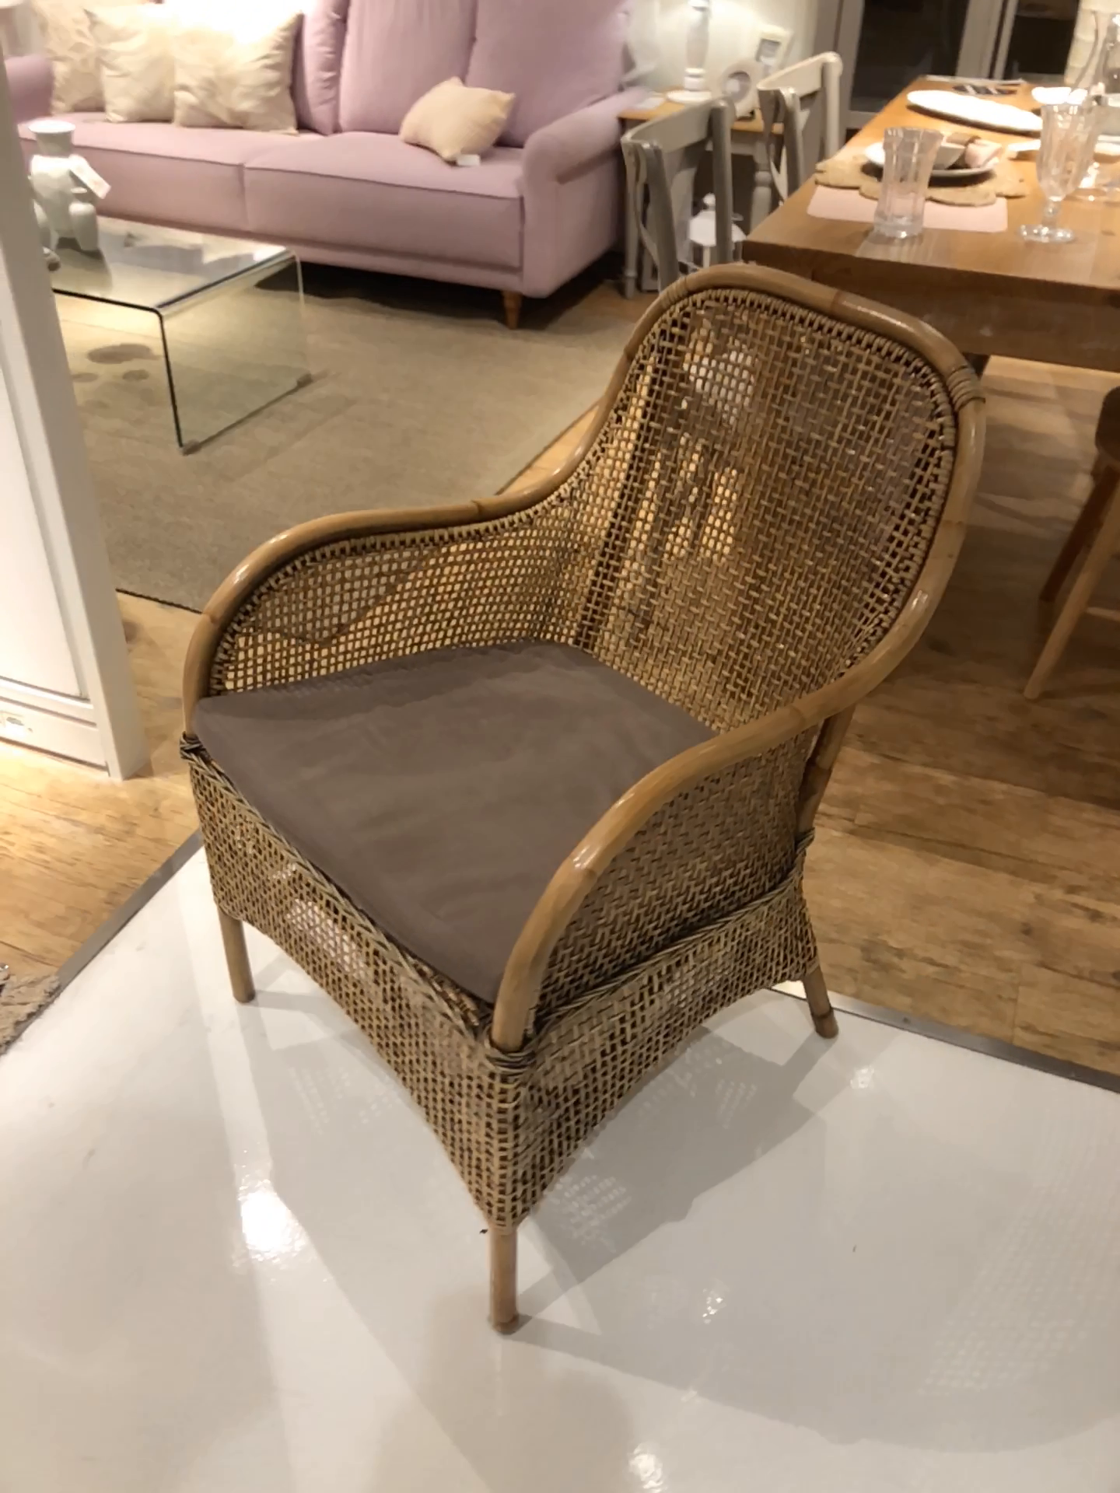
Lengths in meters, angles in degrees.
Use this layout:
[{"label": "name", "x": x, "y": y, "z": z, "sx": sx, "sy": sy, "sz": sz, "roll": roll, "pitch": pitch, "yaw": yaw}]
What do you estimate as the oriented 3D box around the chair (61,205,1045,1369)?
[{"label": "chair", "x": -0.010, "y": 0.009, "z": 1.292, "sx": 0.623, "sy": 0.903, "sz": 0.542, "roll": -27, "pitch": 45, "yaw": -34}]
